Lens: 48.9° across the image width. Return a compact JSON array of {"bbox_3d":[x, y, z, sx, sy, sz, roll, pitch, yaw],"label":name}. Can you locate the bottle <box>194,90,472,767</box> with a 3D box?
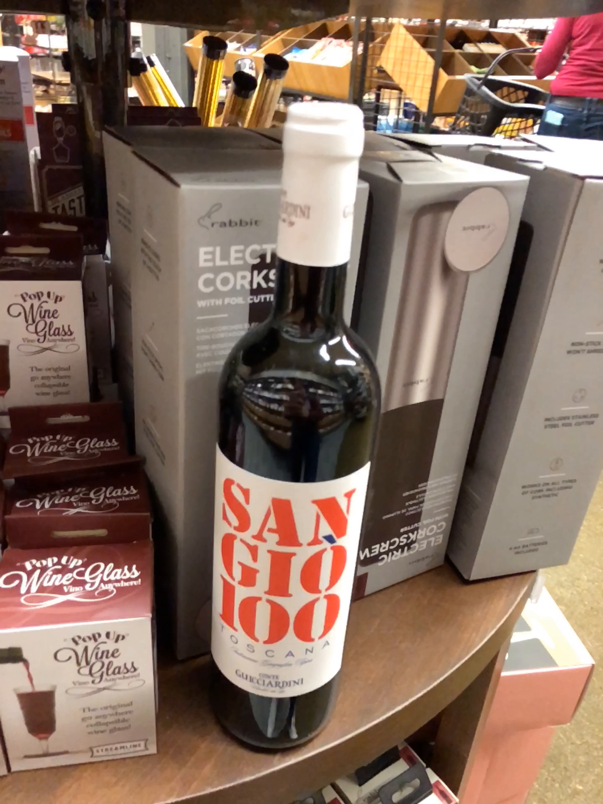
[{"bbox_3d":[-0.002,0.032,0.304,0.083,0.309,0.080,3,29,-2],"label":"bottle"}]
